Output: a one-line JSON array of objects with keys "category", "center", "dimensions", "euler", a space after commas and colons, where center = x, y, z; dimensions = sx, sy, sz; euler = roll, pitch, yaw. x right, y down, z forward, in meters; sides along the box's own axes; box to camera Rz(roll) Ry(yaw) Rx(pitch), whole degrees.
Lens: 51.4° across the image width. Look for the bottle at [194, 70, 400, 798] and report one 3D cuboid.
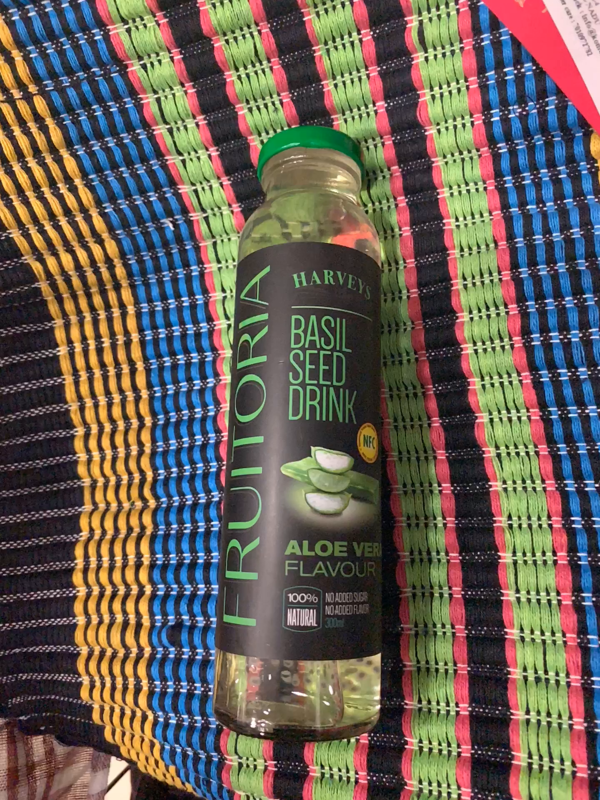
[{"category": "bottle", "center": [-0.006, 0.005, 0.205], "dimensions": [0.050, 0.060, 0.200], "euler": [2, 80, -13]}]
